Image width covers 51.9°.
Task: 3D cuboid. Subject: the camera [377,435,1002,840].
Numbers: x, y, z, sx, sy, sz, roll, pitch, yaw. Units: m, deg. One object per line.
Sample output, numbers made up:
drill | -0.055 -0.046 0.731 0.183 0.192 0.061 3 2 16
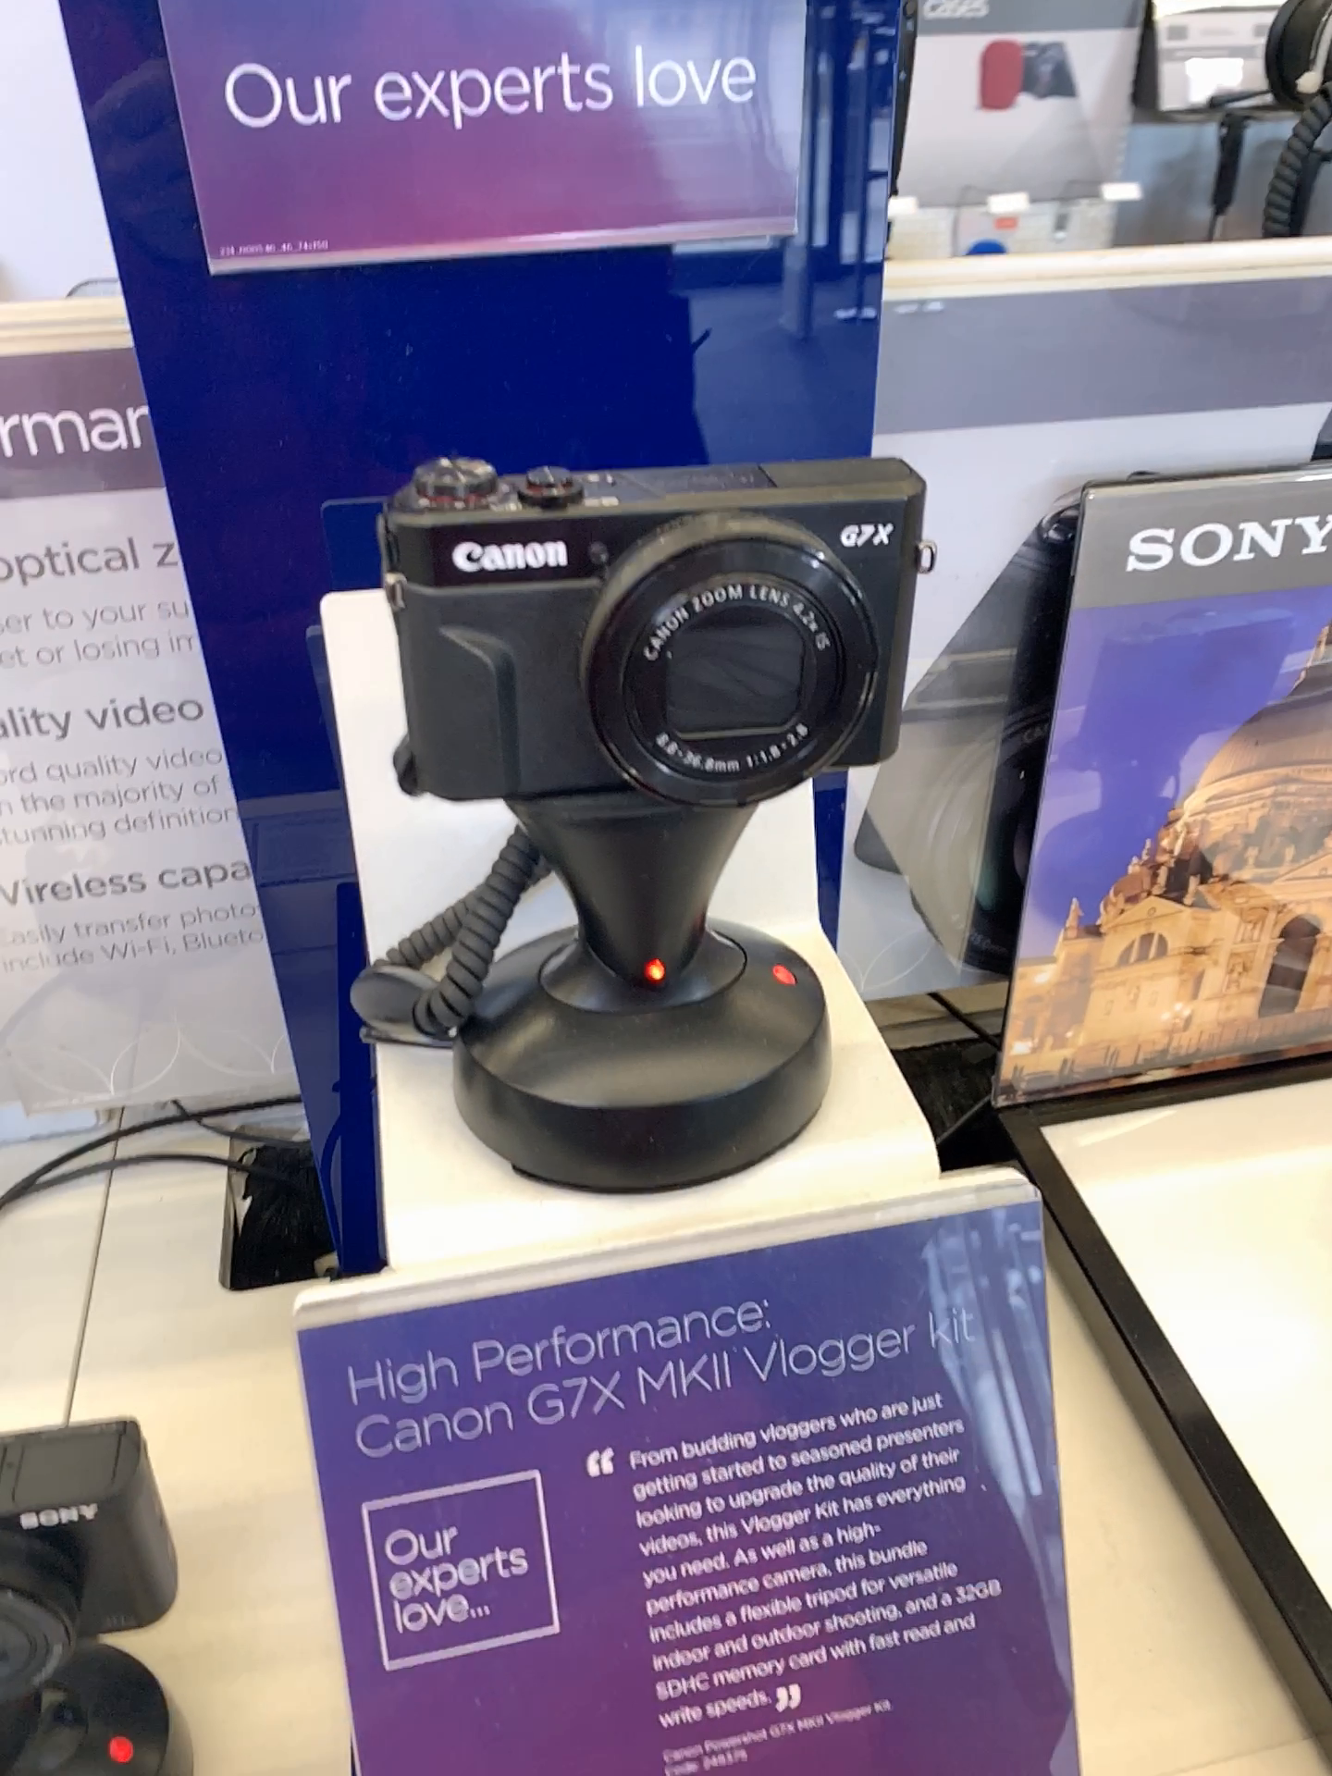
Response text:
camera | 0.003 -0.050 0.265 0.108 0.059 0.038 -5 32 -6
